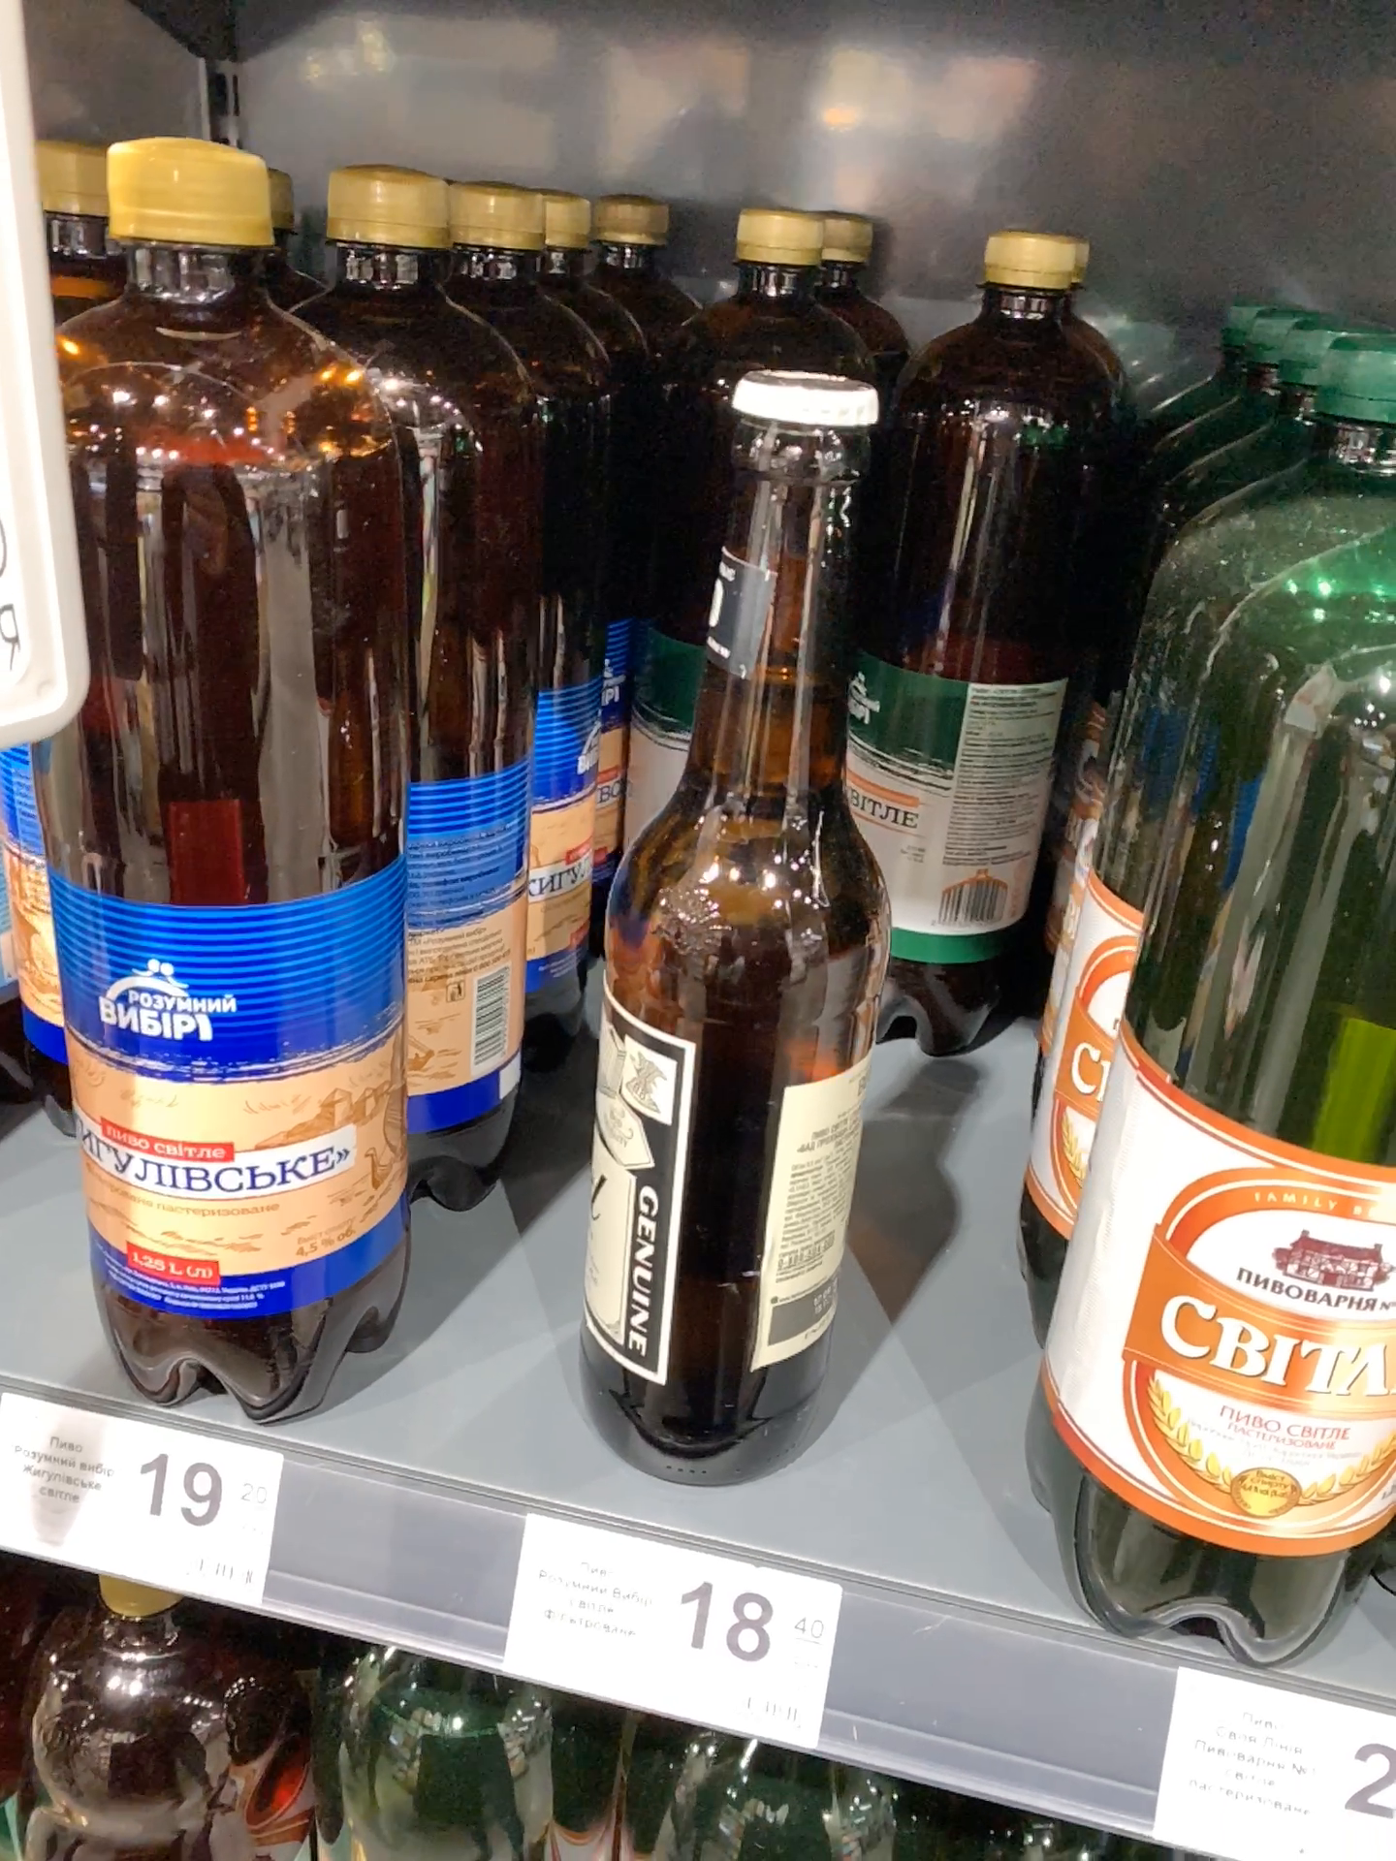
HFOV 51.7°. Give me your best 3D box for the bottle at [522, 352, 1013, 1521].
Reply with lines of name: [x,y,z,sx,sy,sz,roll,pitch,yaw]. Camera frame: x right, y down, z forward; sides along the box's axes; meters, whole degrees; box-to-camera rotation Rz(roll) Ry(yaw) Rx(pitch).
bottle: [0.004,0.011,0.331,0.070,0.258,0.064,4,26,-2]
